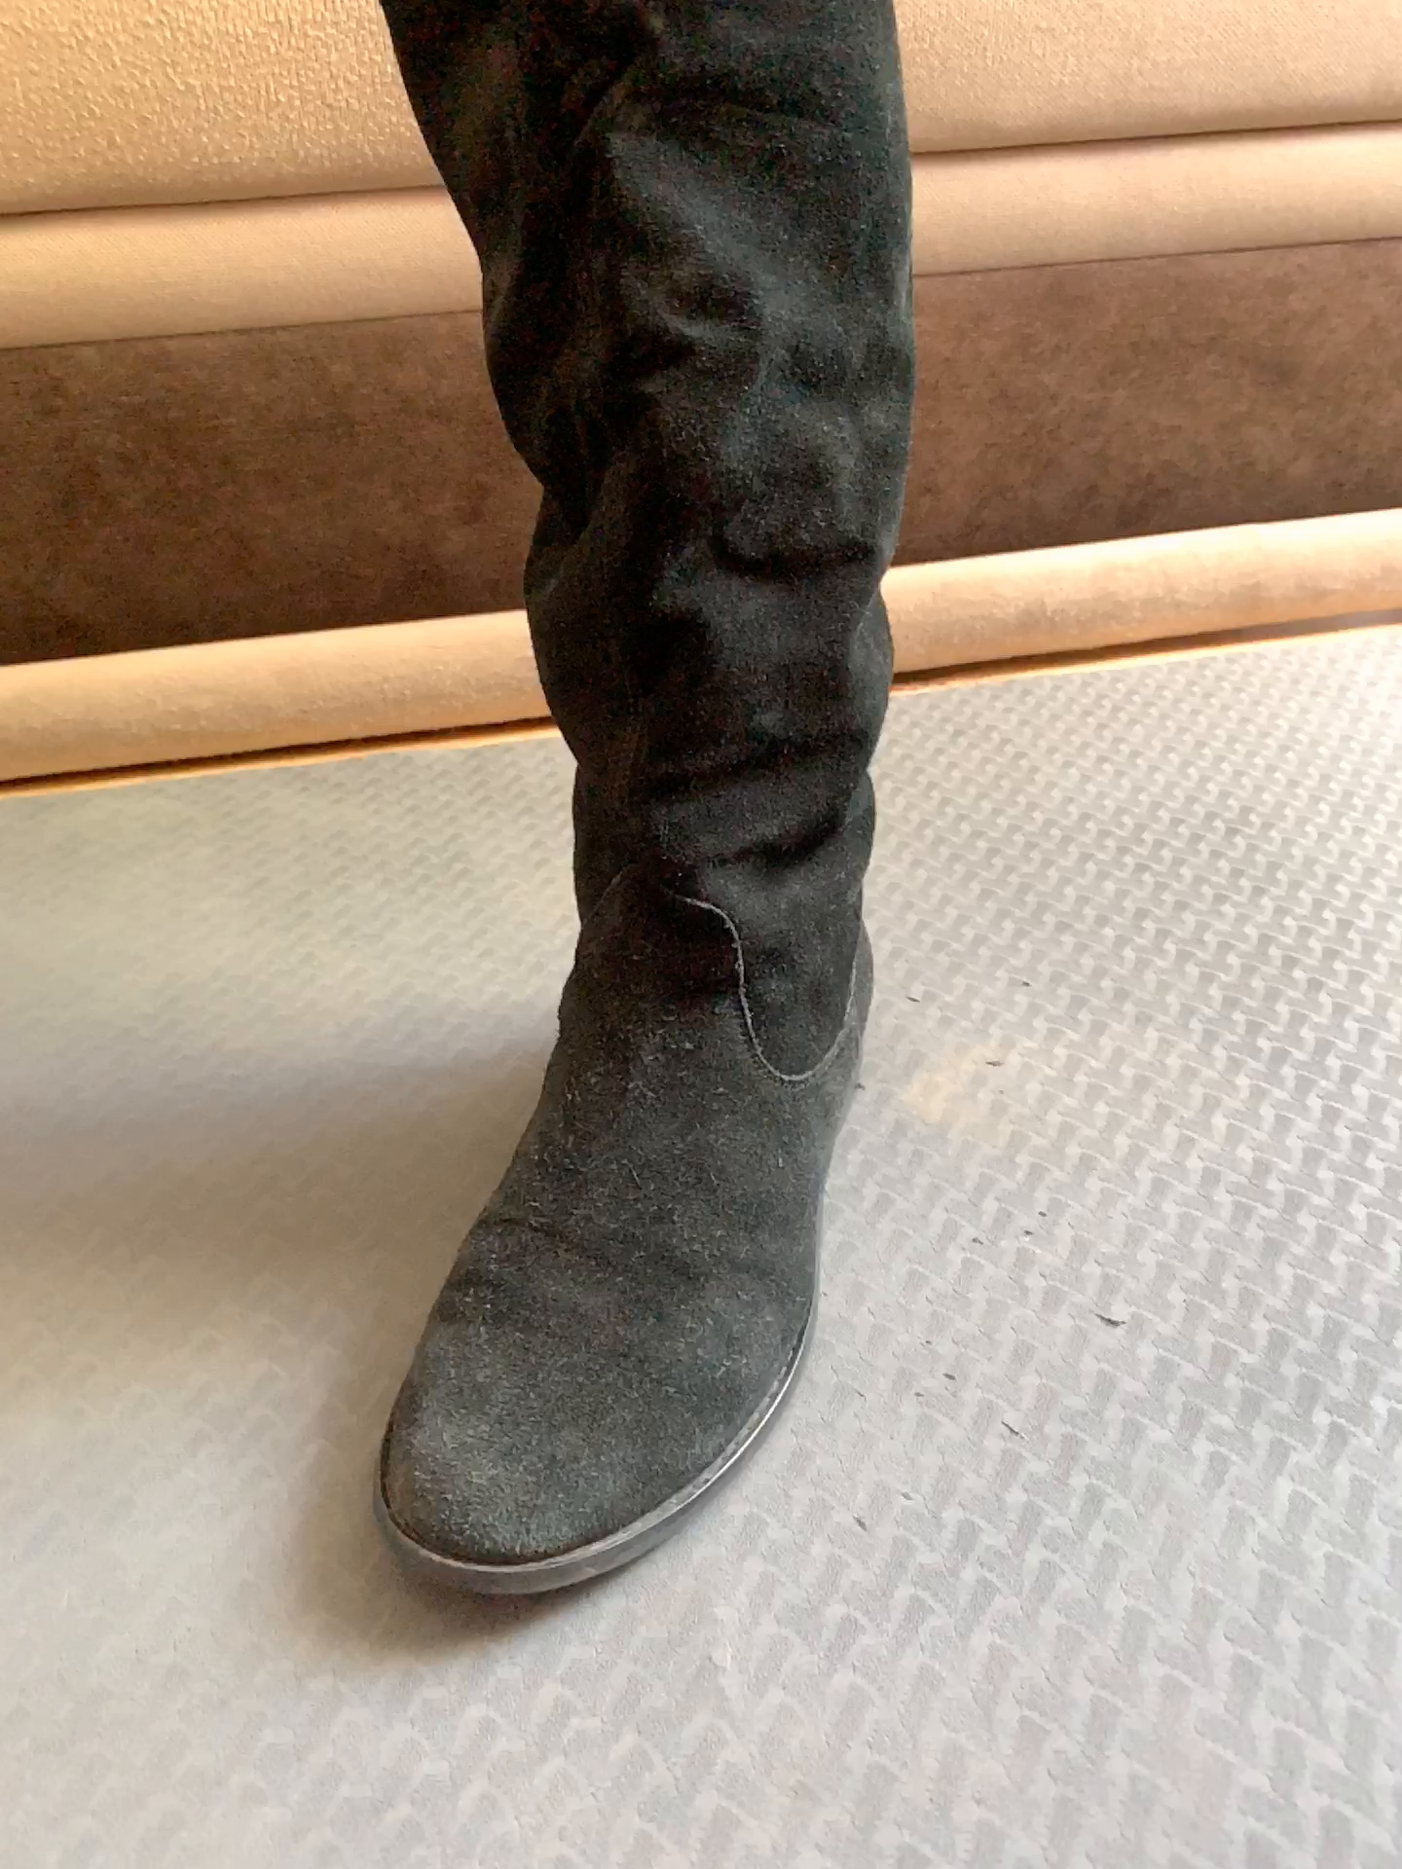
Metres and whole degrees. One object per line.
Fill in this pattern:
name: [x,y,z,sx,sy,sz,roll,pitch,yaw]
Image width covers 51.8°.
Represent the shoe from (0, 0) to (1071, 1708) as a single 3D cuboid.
shoe: [-0.011,-0.102,0.337,0.130,0.378,0.321,6,30,19]
